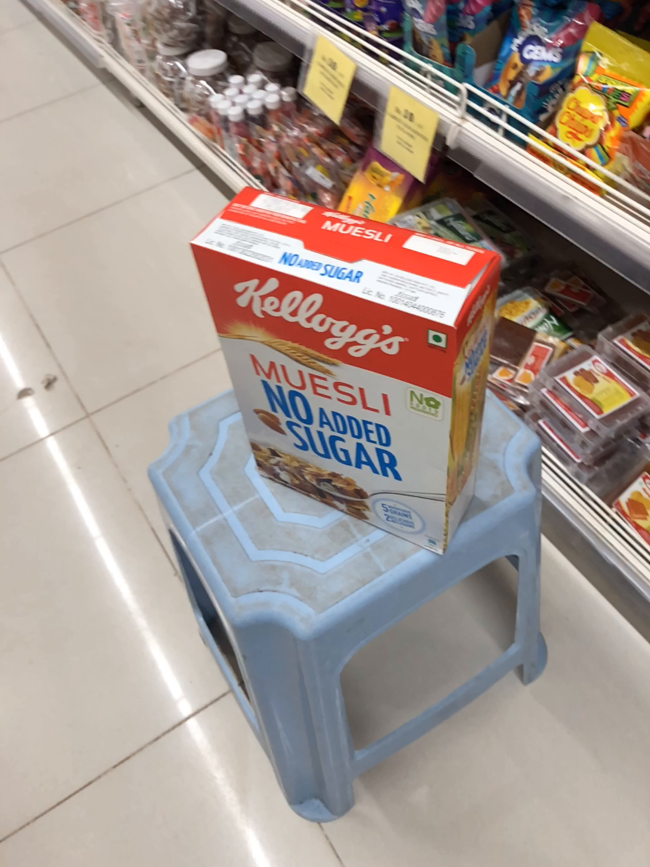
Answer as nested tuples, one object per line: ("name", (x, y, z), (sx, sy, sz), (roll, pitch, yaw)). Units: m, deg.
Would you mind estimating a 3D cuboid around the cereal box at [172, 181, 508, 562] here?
("cereal box", (0.018, -0.033, 0.530), (0.190, 0.259, 0.070), (21, 58, 22))
